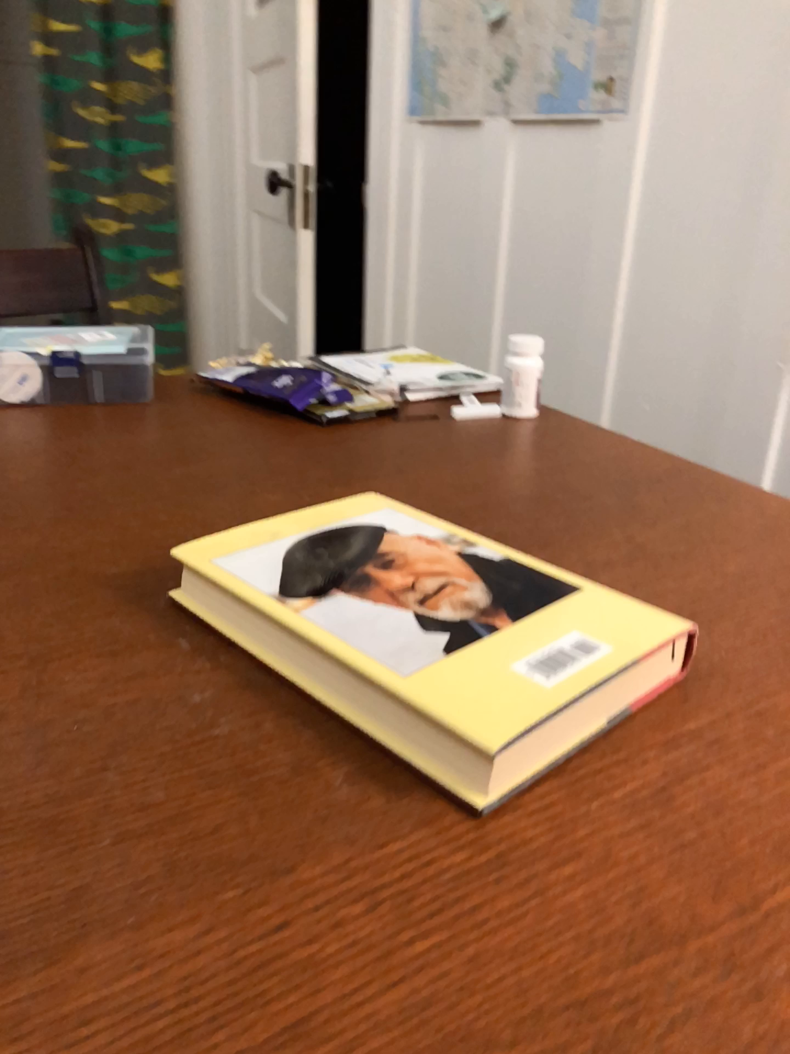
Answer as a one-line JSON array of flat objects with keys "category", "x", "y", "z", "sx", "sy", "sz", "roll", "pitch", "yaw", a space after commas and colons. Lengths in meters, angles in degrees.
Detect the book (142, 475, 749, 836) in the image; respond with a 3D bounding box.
[{"category": "book", "x": 0.018, "y": 0.038, "z": 0.454, "sx": 0.191, "sy": 0.030, "sz": 0.250, "roll": -18, "pitch": 30, "yaw": -40}]
